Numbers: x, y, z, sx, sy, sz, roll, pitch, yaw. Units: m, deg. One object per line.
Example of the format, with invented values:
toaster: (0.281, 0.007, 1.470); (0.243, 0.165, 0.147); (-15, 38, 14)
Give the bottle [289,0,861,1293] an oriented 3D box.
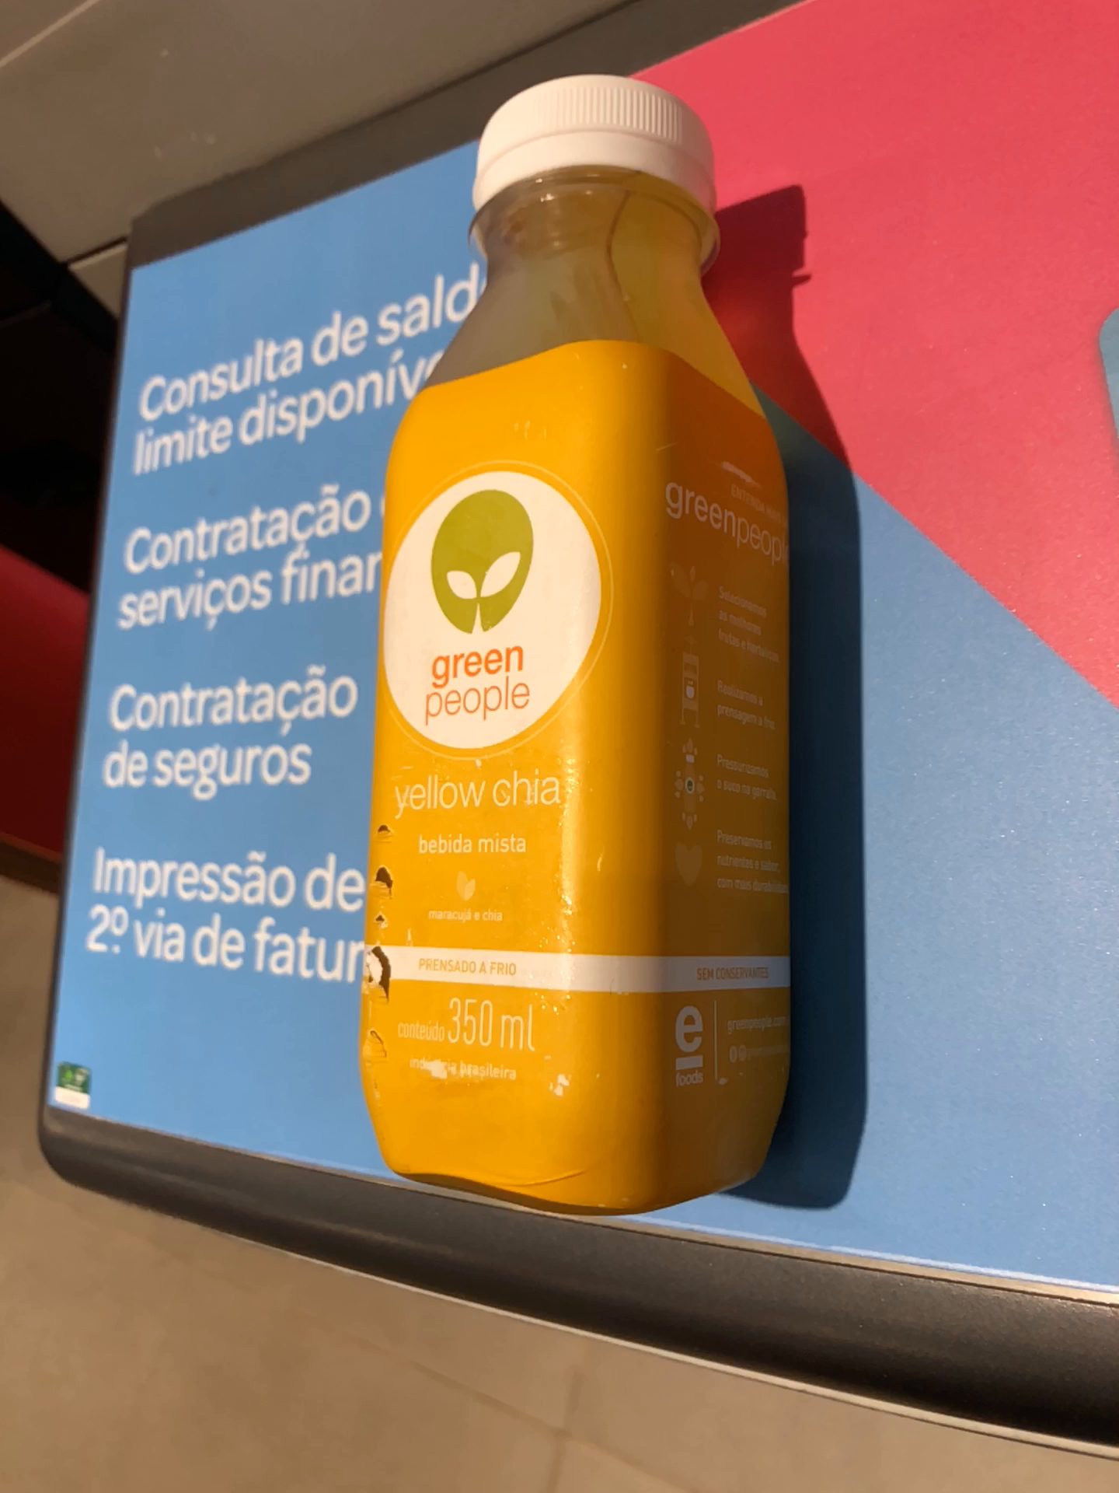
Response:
bottle: (0.007, -0.019, 0.204); (0.060, 0.060, 0.180); (-4, 79, 38)
